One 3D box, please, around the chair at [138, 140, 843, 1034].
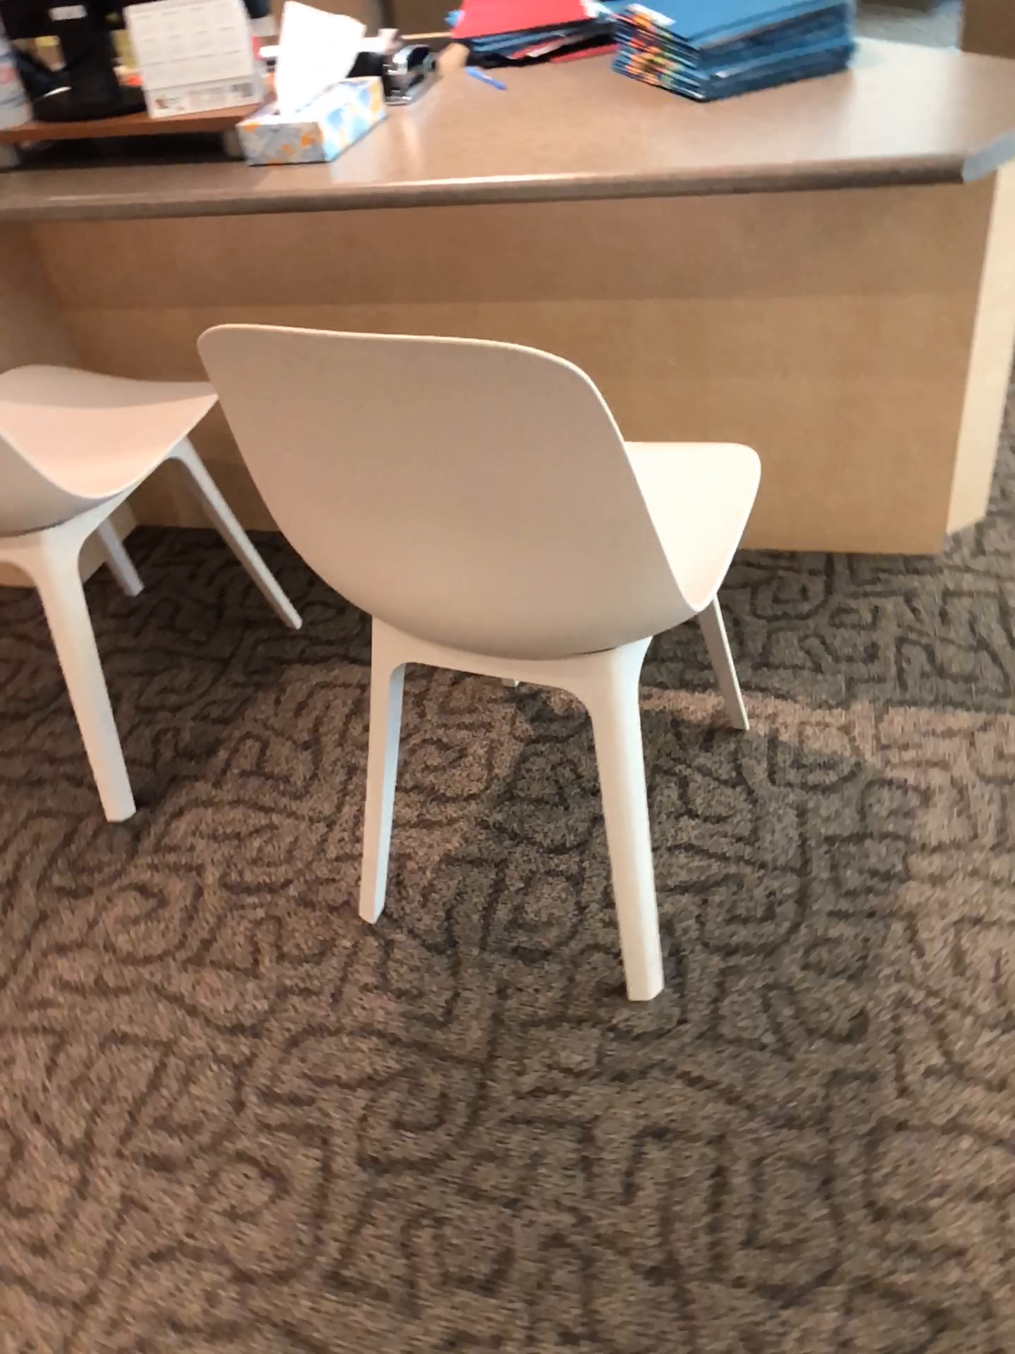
[{"bbox_3d":[0.062,-0.113,1.285,0.481,0.794,0.553,11,43,23],"label":"chair"}]
